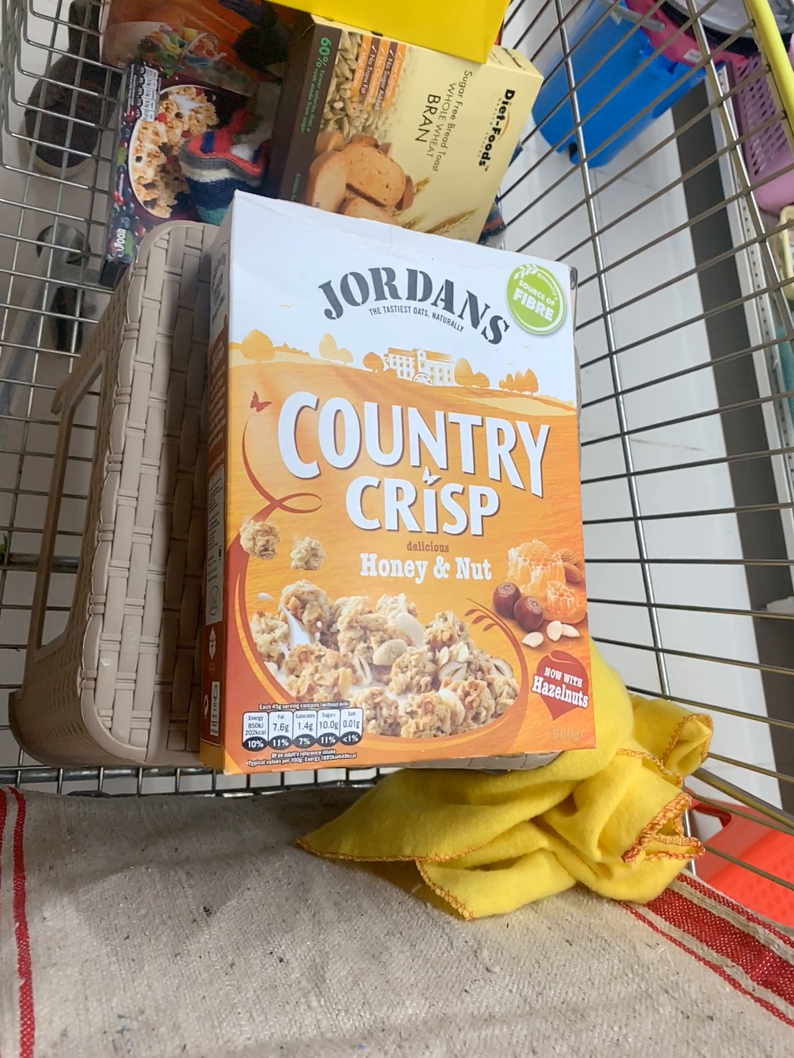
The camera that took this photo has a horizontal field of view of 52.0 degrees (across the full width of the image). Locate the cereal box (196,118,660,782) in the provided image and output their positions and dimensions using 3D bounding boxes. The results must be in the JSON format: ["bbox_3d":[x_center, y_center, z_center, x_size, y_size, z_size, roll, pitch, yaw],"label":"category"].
[{"bbox_3d":[0.014,-0.026,0.384,0.190,0.080,0.260,4,79,-25],"label":"cereal box"}]
